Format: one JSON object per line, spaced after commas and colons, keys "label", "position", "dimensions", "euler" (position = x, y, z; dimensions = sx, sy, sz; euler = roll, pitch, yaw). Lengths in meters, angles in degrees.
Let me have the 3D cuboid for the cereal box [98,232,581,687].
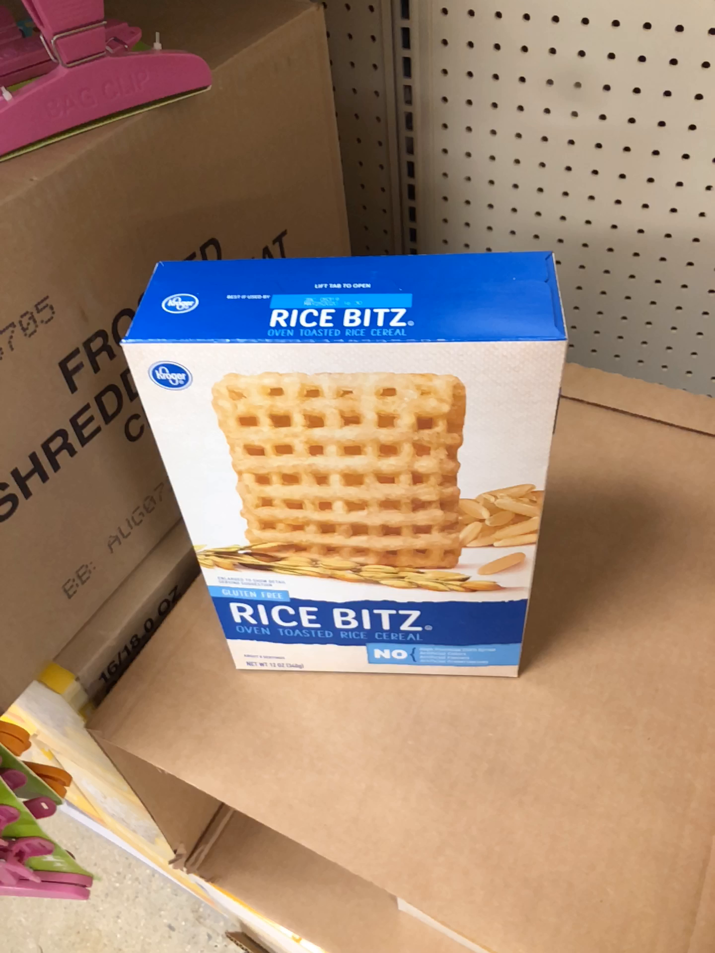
{"label": "cereal box", "position": [0.004, 0.013, 0.453], "dimensions": [0.200, 0.289, 0.070], "euler": [0, 47, 7]}
